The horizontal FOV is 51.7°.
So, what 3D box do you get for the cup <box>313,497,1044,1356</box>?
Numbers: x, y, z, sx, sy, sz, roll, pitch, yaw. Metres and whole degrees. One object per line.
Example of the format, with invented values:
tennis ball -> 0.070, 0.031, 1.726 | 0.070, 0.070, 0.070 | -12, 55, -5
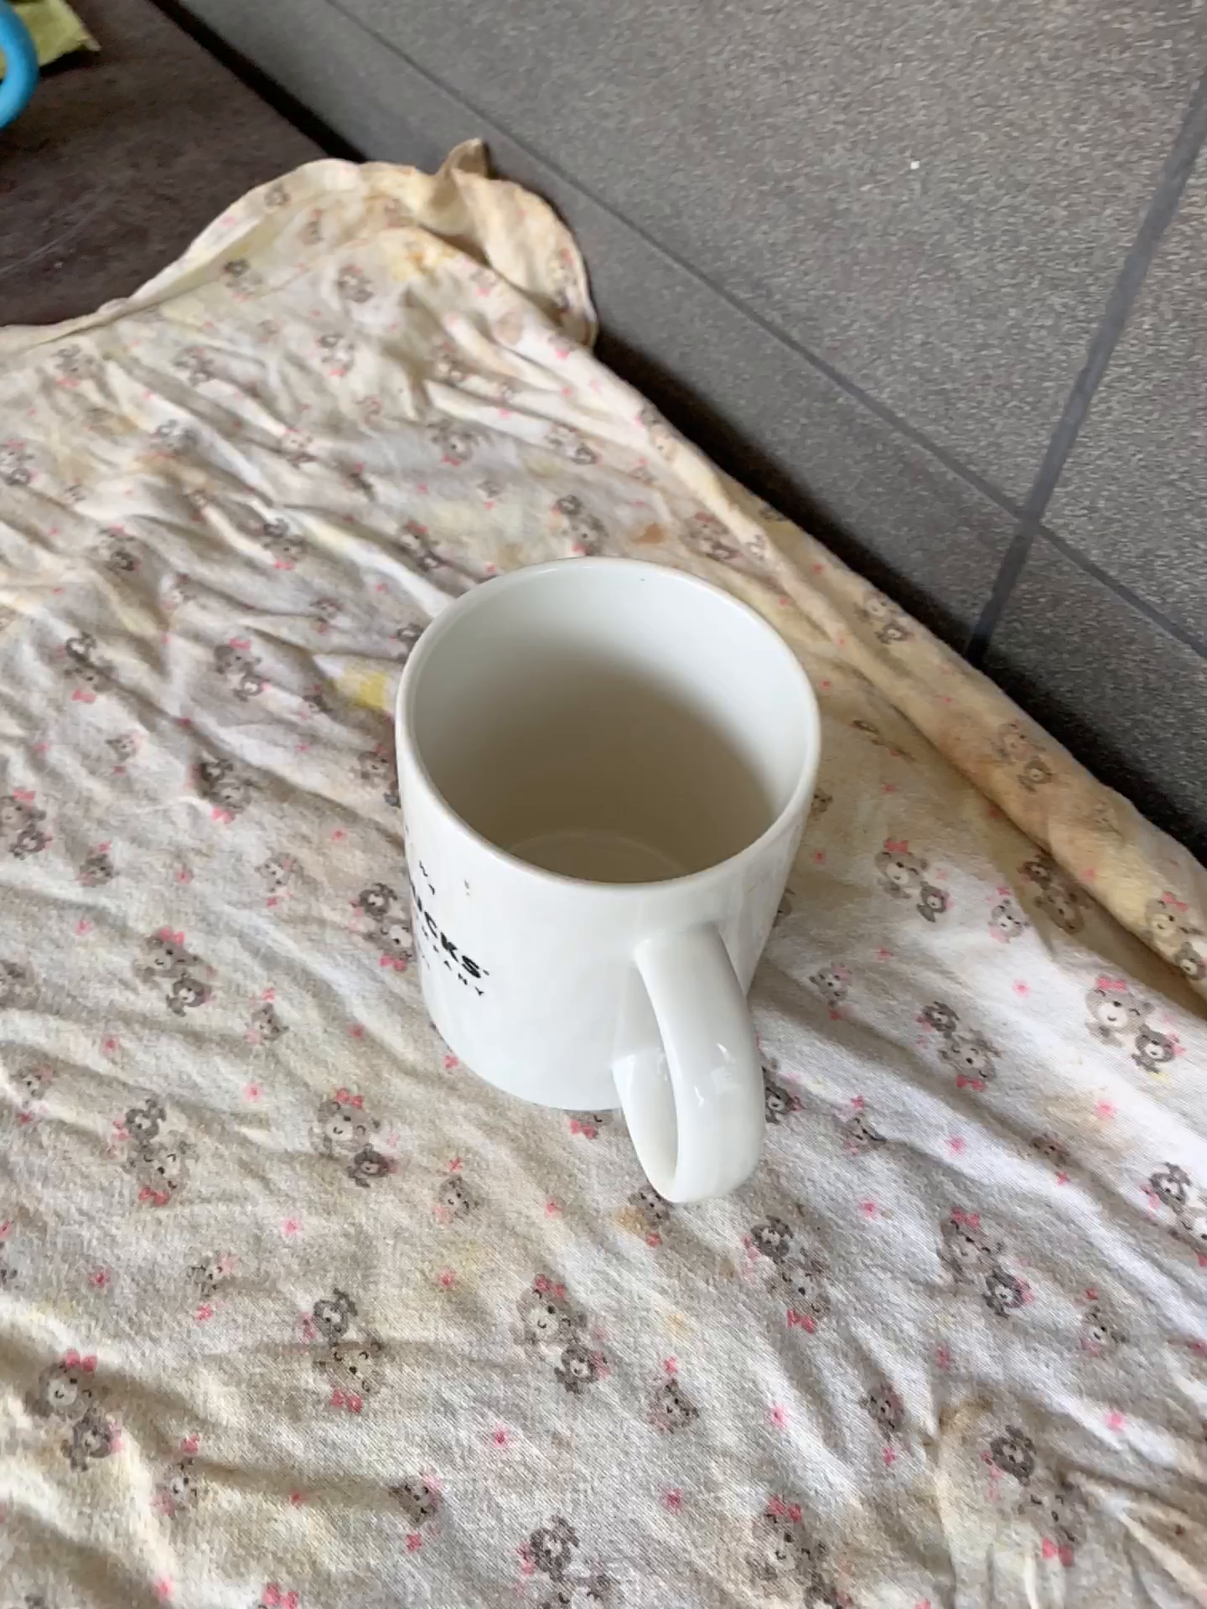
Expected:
cup -> 0.004, 0.025, 0.274 | 0.090, 0.110, 0.130 | -16, 56, -16
